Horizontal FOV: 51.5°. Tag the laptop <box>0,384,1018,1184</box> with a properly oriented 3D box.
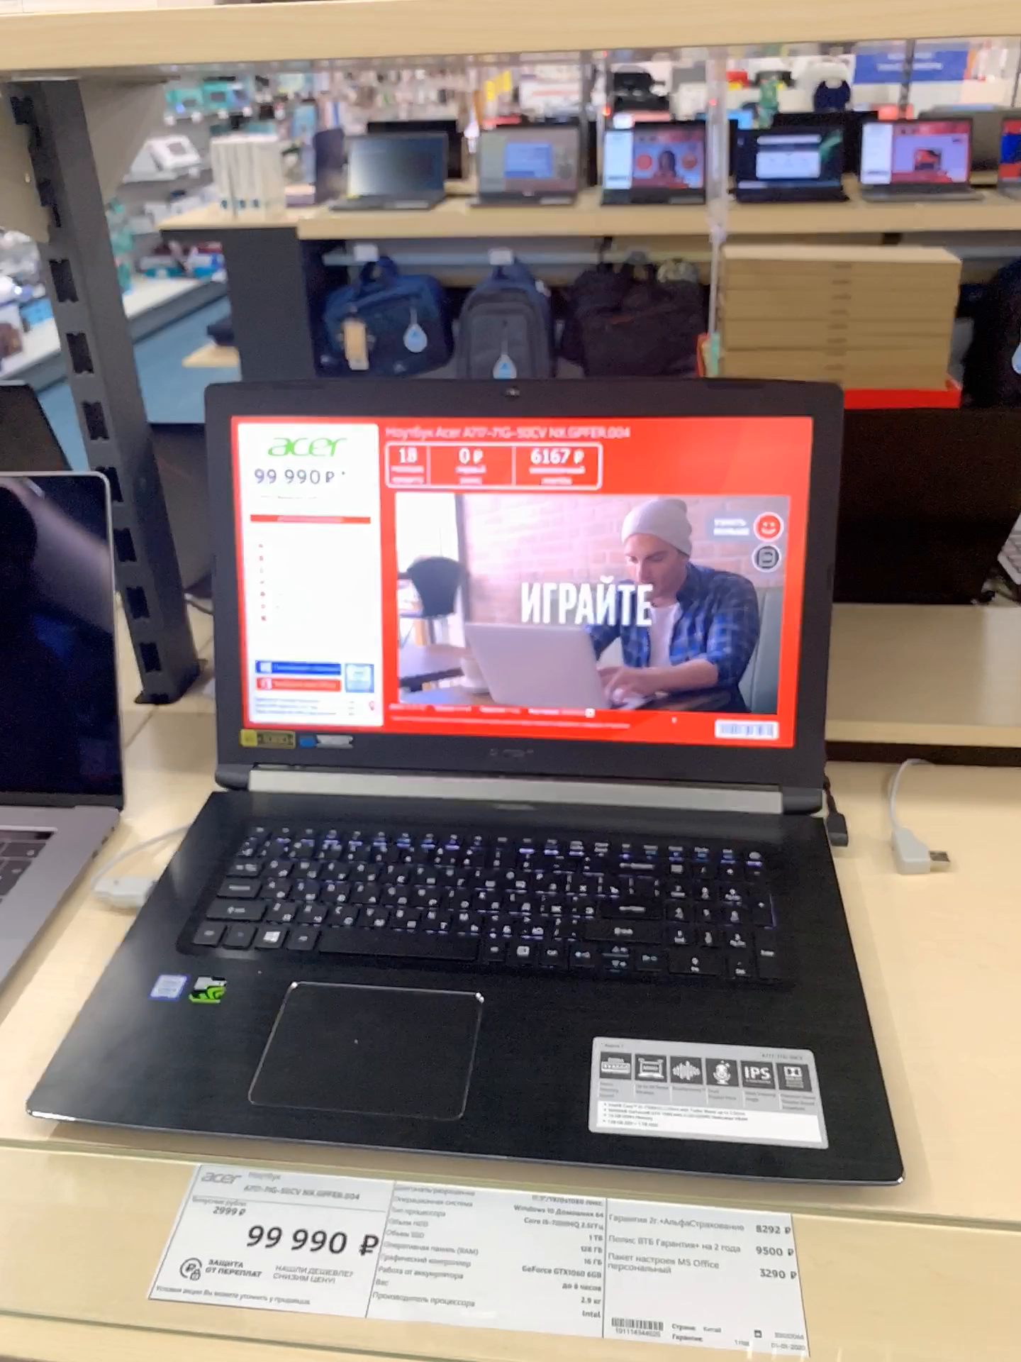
[{"bbox_3d":[-0.015,0.013,0.580,0.406,0.248,0.364,2,30,6],"label":"laptop"}]
